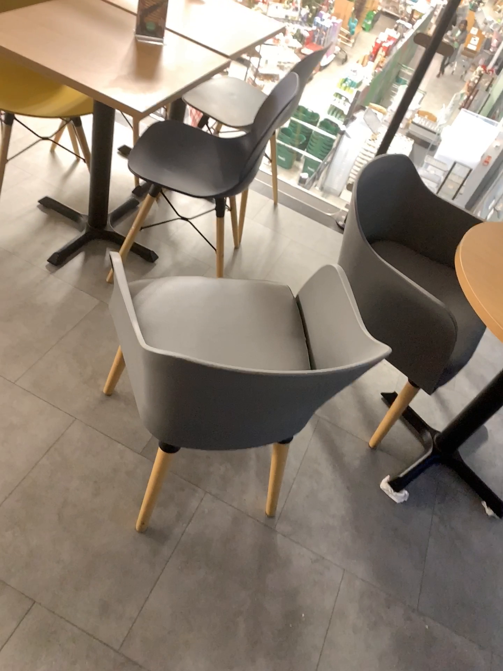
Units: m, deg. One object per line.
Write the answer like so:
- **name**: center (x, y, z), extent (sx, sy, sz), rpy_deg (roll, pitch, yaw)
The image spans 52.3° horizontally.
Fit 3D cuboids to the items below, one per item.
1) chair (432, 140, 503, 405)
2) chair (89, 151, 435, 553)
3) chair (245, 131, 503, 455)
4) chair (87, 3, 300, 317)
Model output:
- **chair**: center (1.187, -0.249, 2.034), extent (0.484, 0.725, 0.584), rpy_deg (31, 45, 10)
- **chair**: center (-0.090, 0.066, 1.266), extent (0.544, 0.735, 0.584), rpy_deg (-1, 49, -21)
- **chair**: center (0.426, -0.132, 1.653), extent (0.541, 0.725, 0.517), rpy_deg (35, 46, 14)
- **chair**: center (-0.216, -0.562, 1.764), extent (0.509, 0.784, 0.478), rpy_deg (15, 45, -7)
